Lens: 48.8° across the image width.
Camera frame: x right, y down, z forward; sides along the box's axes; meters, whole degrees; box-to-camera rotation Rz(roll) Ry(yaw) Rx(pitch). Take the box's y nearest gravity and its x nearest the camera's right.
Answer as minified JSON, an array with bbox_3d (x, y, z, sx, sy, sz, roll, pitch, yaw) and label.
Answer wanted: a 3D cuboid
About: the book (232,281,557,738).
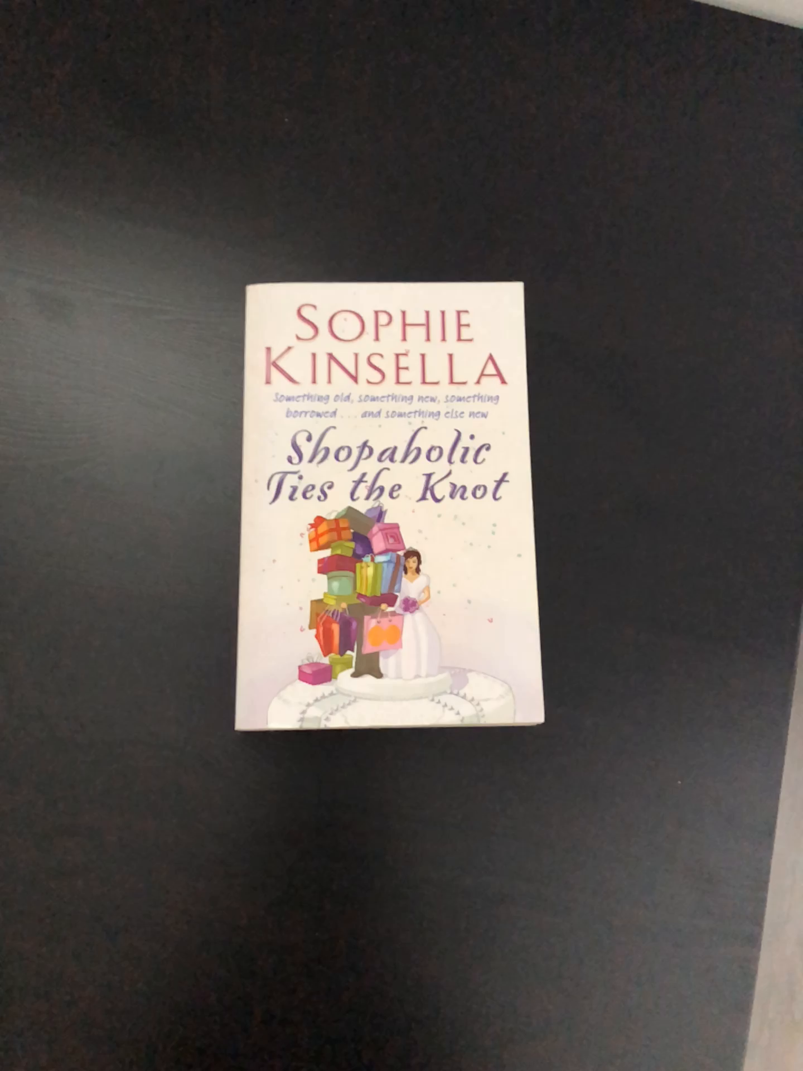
[{"bbox_3d":[-0.003,-0.013,0.393,0.130,0.035,0.200,0,77,-1],"label":"book"}]
